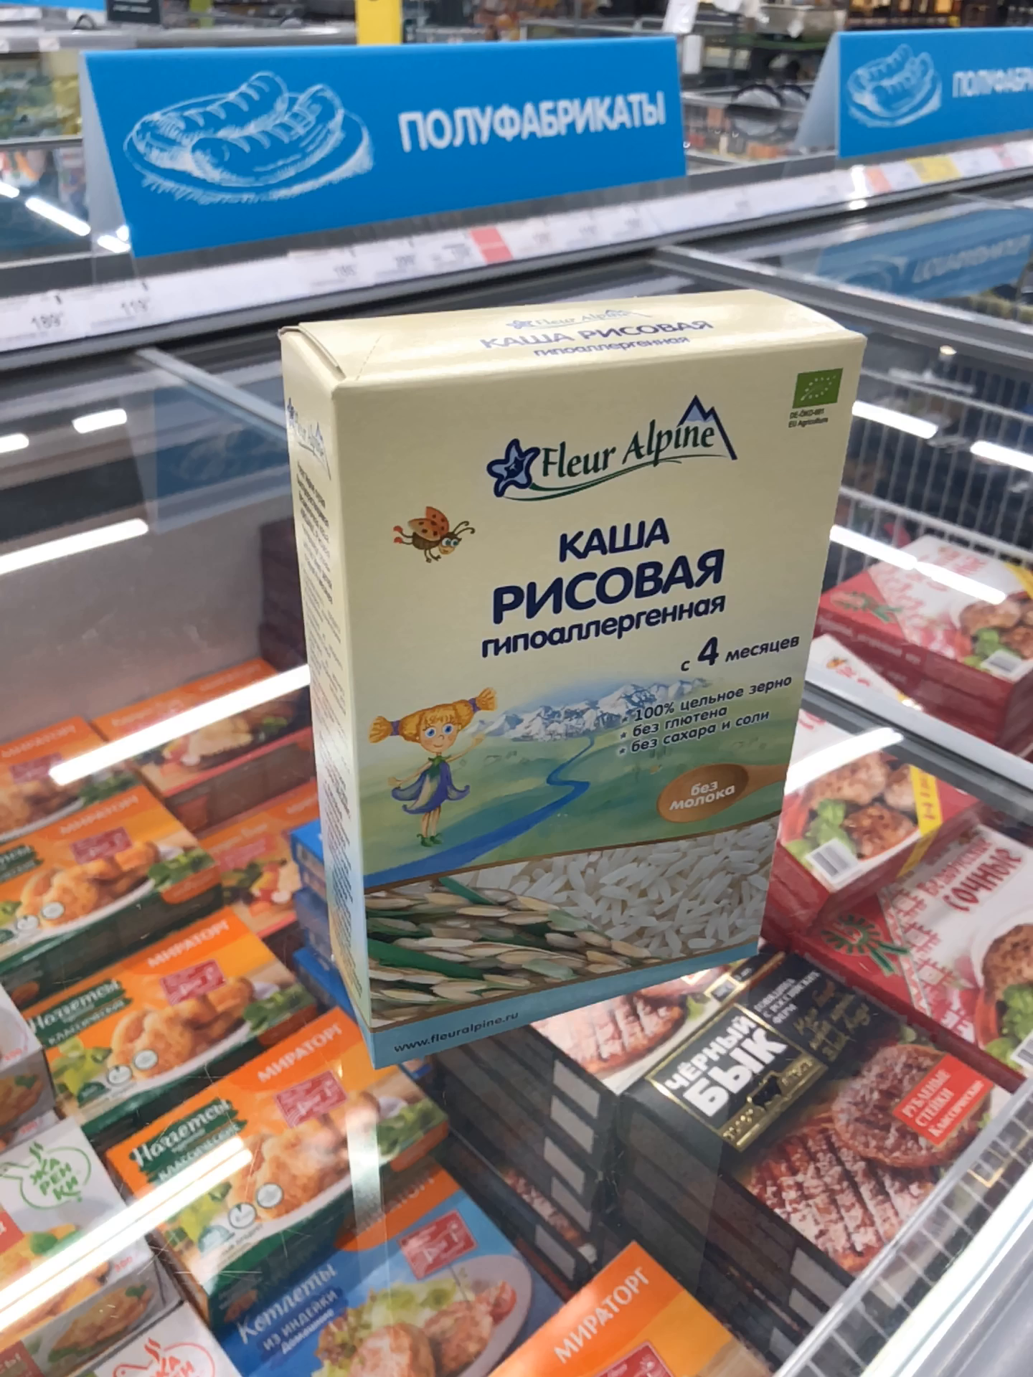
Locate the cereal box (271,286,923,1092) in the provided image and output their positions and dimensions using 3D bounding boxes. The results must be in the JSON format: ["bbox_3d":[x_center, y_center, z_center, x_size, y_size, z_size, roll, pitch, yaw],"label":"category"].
[{"bbox_3d":[0.017,0.003,0.311,0.140,0.199,0.050,-11,34,-19],"label":"cereal box"}]
